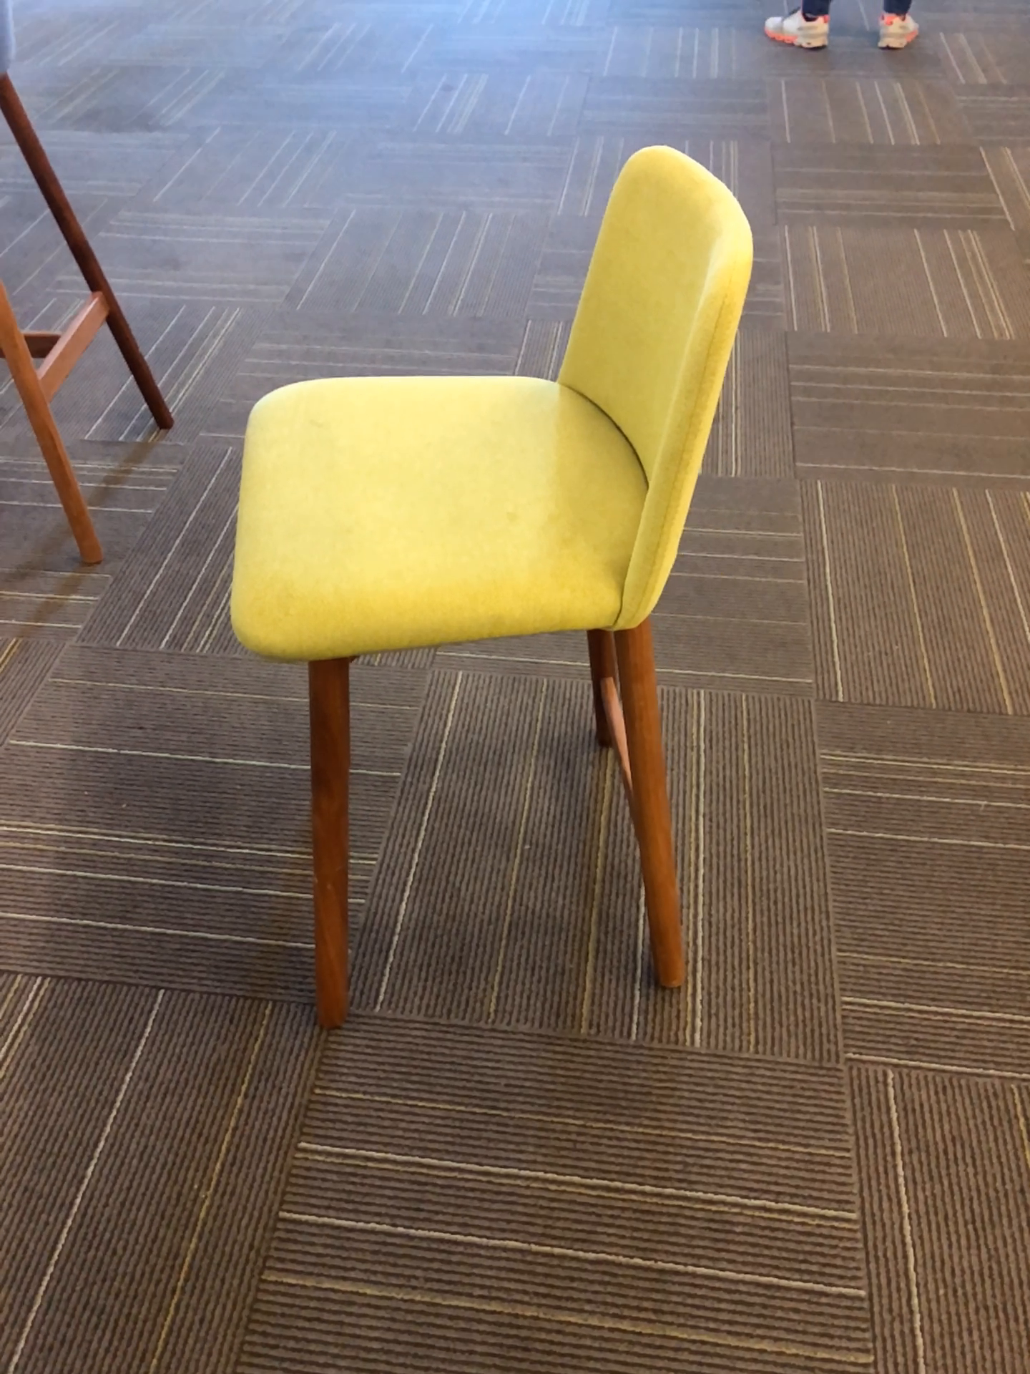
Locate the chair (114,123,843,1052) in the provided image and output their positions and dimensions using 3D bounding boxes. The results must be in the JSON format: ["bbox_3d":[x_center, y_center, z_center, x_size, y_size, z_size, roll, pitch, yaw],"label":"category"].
[{"bbox_3d":[-0.038,-0.064,1.255,0.510,0.876,0.462,-6,43,-4],"label":"chair"}]
